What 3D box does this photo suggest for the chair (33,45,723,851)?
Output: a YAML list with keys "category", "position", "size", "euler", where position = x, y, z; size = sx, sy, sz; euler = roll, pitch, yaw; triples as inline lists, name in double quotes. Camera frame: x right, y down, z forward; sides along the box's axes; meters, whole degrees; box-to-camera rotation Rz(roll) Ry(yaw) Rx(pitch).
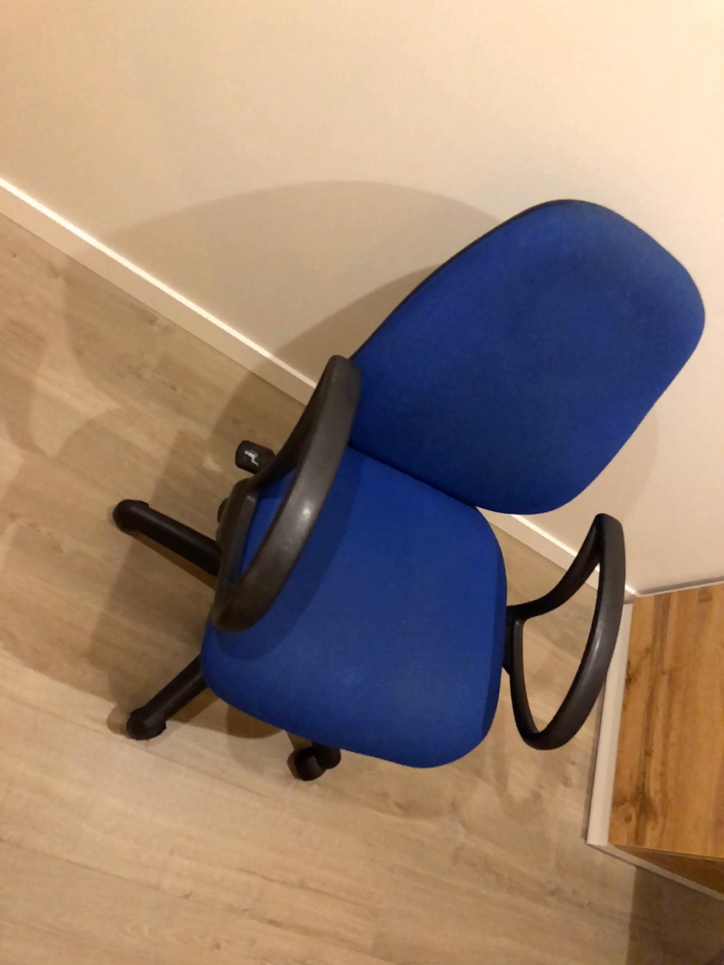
- category: "chair"
  position: [0.069, 0.085, 1.219]
  size: [0.698, 0.905, 0.702]
  euler: [25, 62, -27]
